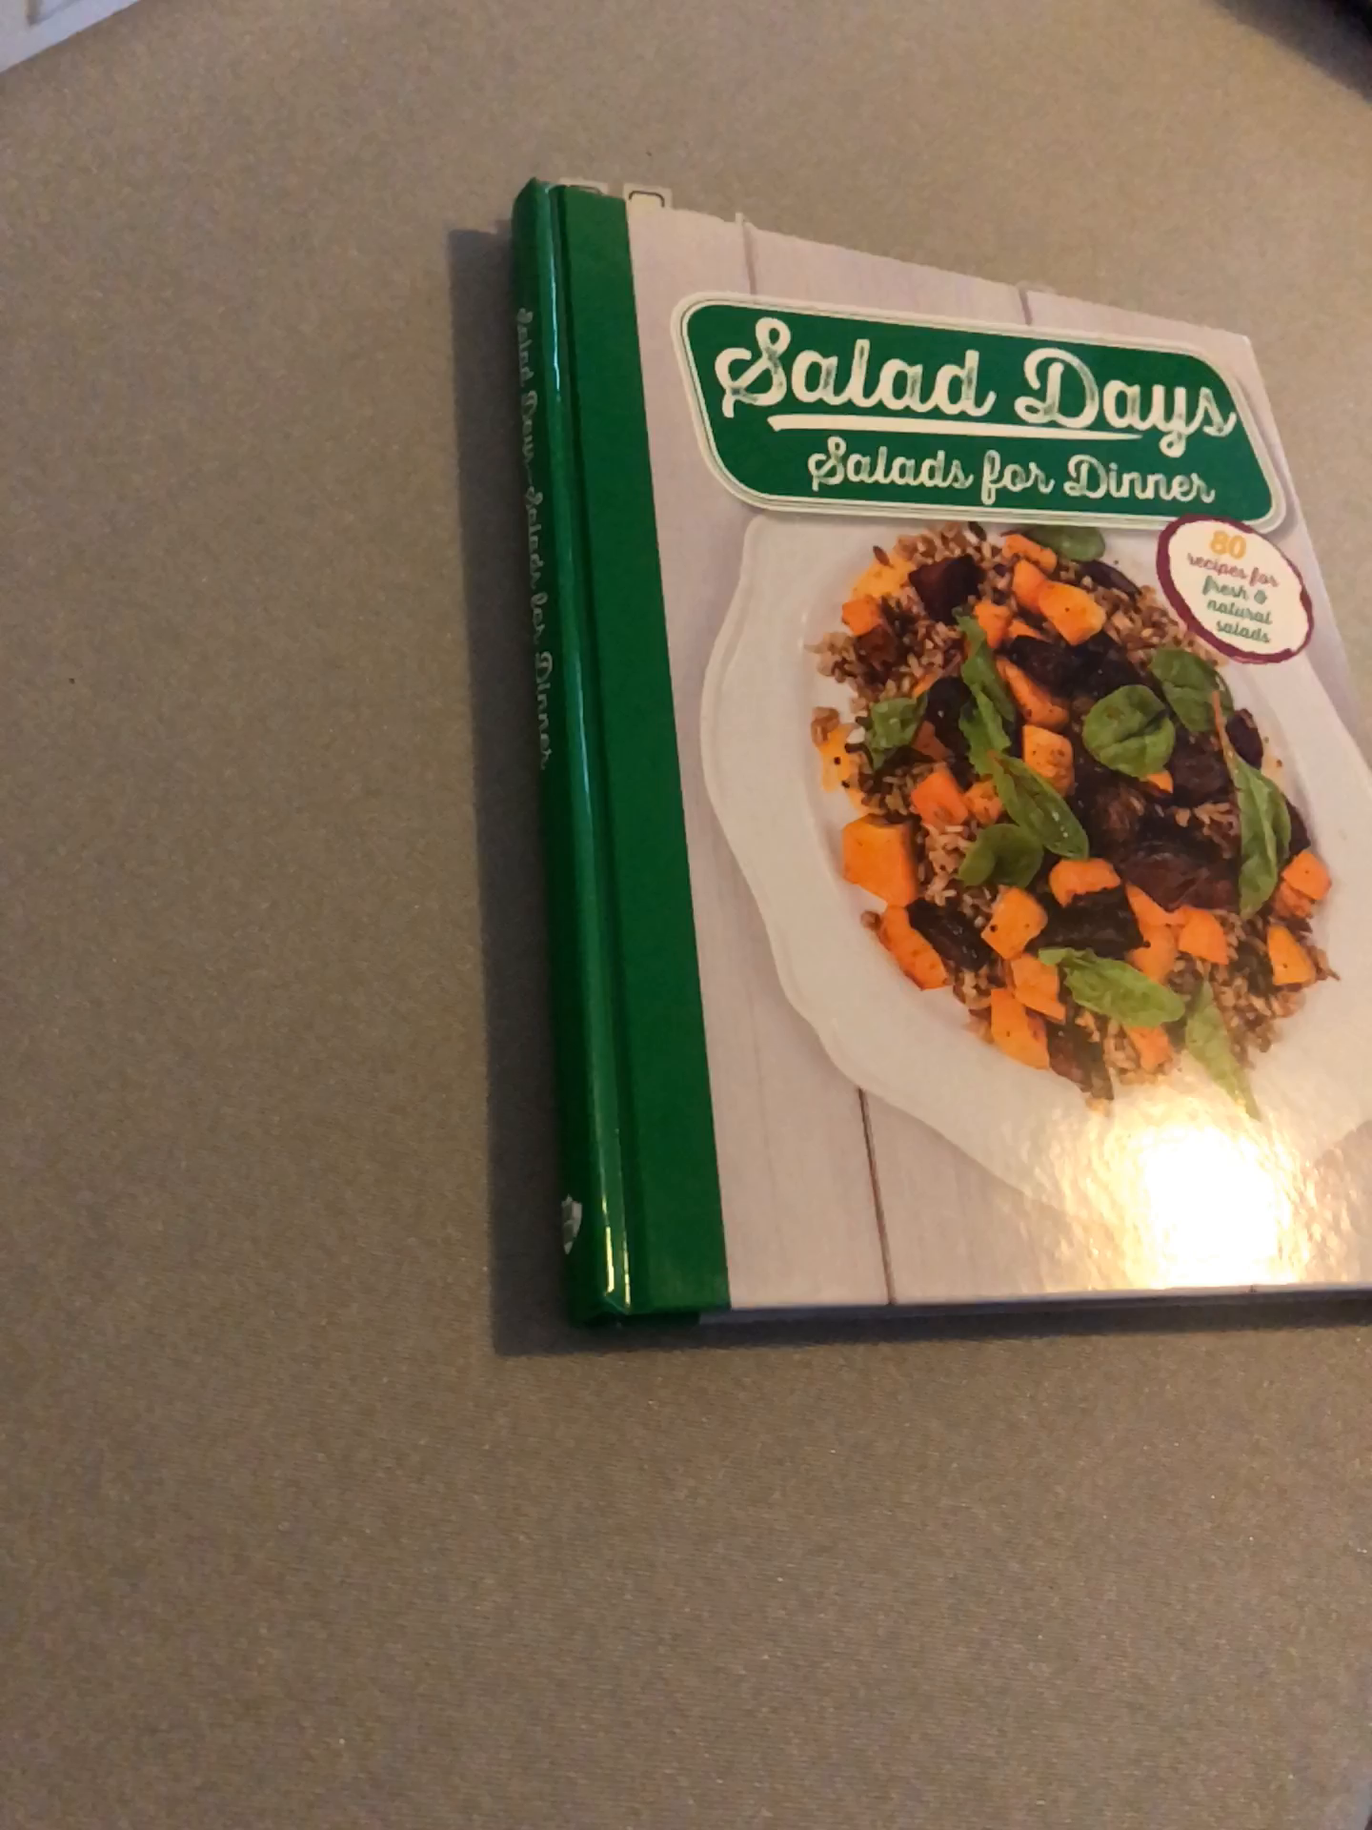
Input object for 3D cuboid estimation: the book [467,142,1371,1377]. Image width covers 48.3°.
[{"bbox_3d":[0.063,-0.045,0.344,0.214,0.020,0.275,3,64,-20],"label":"book"}]
